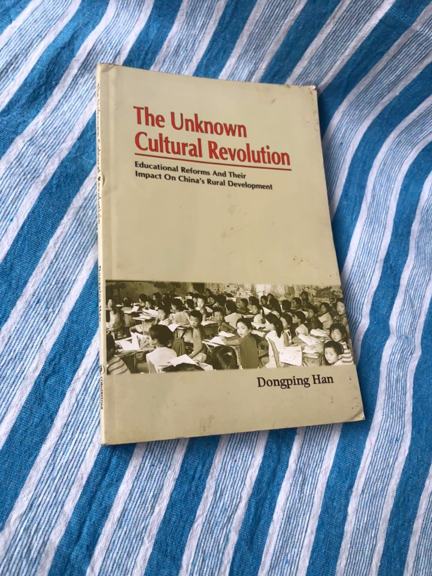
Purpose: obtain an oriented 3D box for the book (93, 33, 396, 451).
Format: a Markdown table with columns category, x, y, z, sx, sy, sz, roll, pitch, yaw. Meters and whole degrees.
| category | x | y | z | sx | sy | sz | roll | pitch | yaw |
| --- | --- | --- | --- | --- | --- | --- | --- | --- | --- |
| book | 0.006 | -0.038 | 0.264 | 0.140 | 0.020 | 0.230 | -1 | 70 | -12 |
